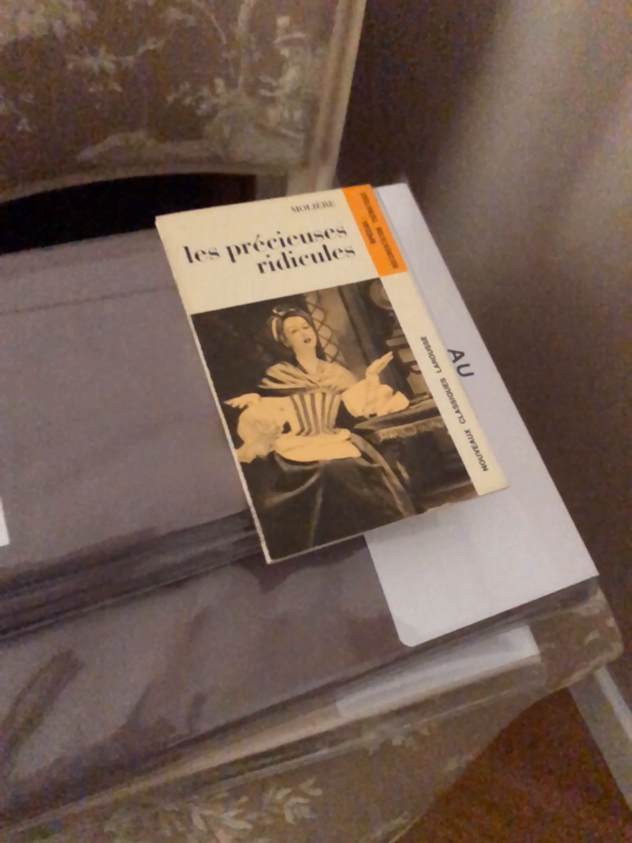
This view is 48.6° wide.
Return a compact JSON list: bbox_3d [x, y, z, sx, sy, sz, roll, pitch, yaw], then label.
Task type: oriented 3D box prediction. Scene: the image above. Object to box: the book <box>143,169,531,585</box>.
[{"bbox_3d":[0.004,-0.032,0.321,0.120,0.020,0.180,-15,69,-17],"label":"book"}]
